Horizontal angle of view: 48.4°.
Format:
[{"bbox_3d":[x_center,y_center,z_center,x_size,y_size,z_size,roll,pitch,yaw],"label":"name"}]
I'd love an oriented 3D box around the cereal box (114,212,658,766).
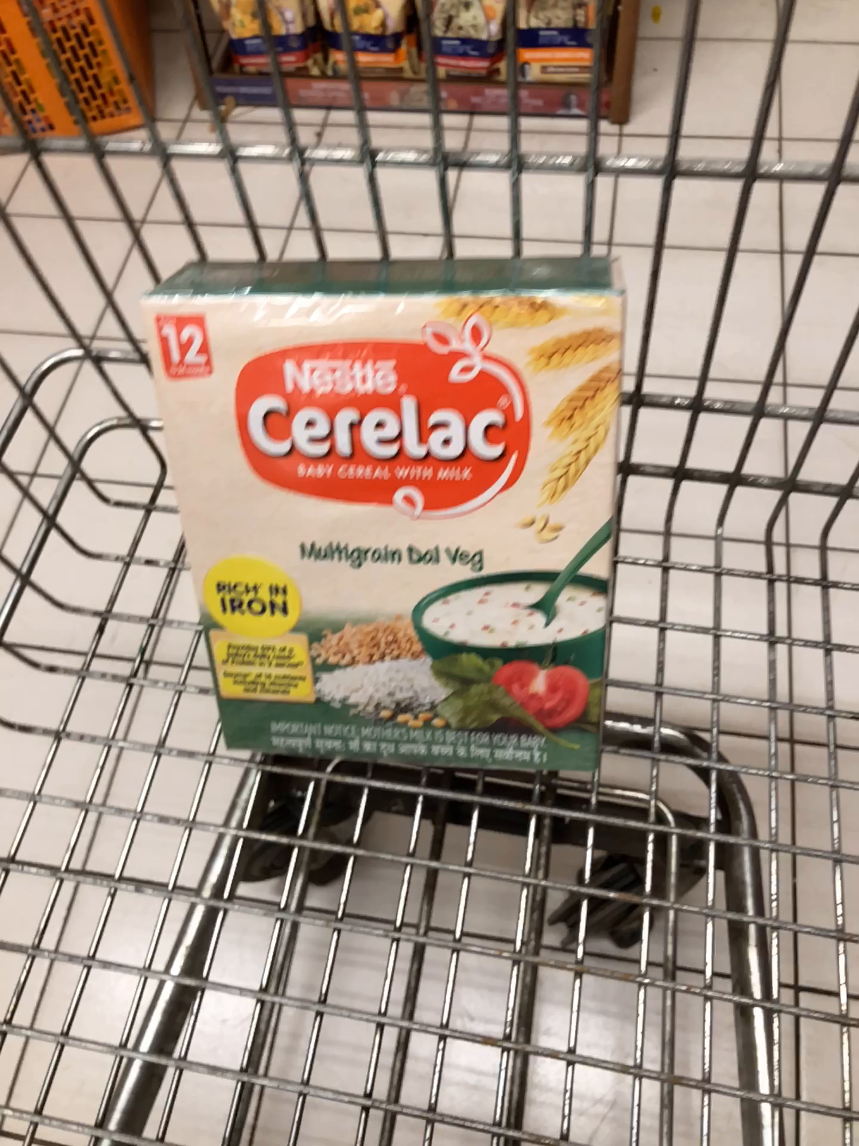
[{"bbox_3d":[-0.010,-0.025,0.345,0.160,0.189,0.050,2,29,7],"label":"cereal box"}]
